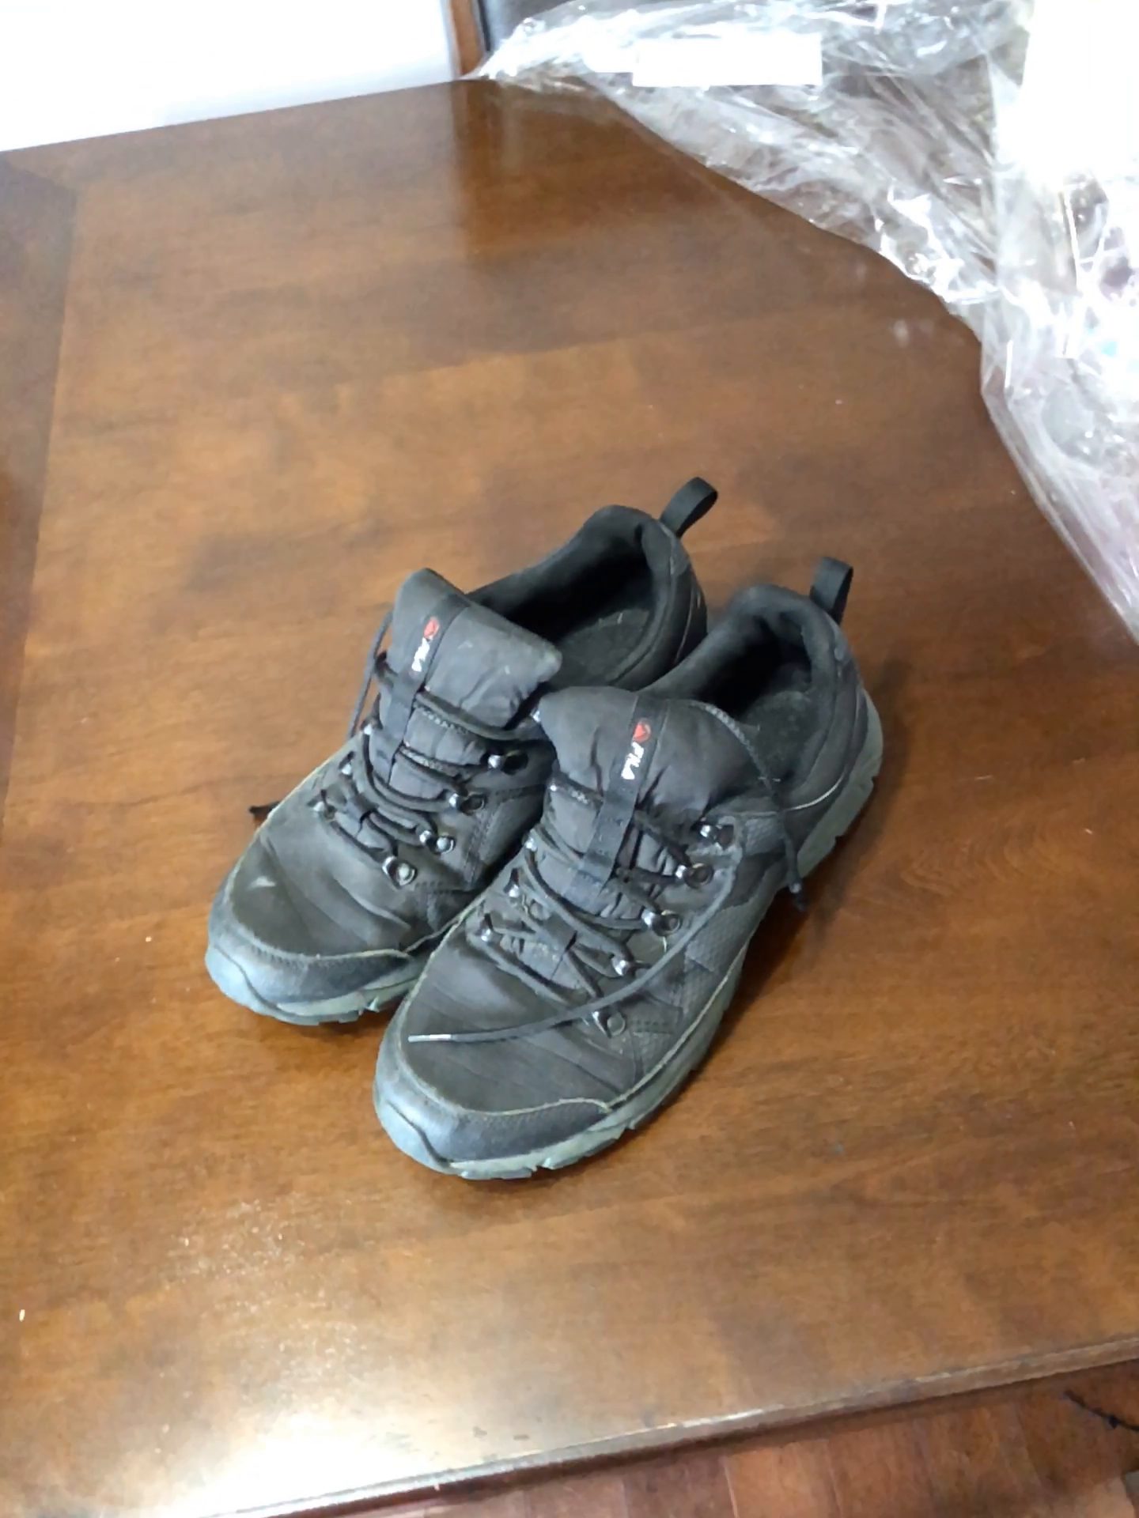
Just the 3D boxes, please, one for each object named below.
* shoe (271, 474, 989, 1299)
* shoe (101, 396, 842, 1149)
[{"bbox_3d":[0.042,0.047,0.557,0.120,0.150,0.320,30,63,23],"label":"shoe"},{"bbox_3d":[-0.026,0.002,0.602,0.120,0.170,0.320,37,66,26],"label":"shoe"}]
